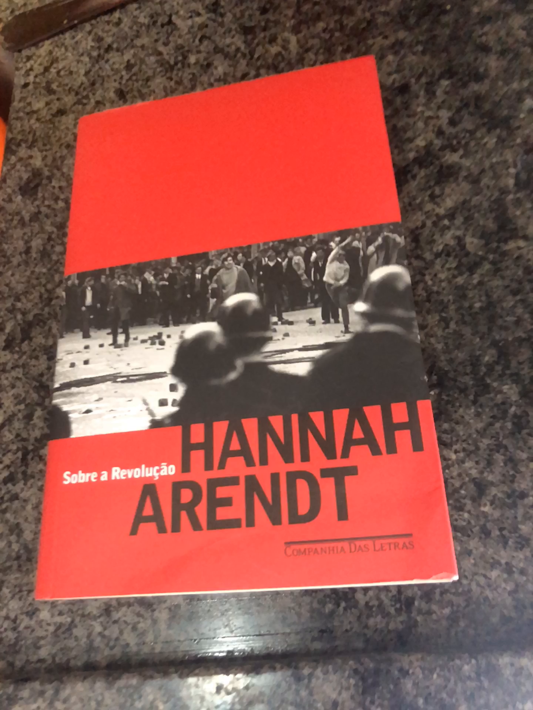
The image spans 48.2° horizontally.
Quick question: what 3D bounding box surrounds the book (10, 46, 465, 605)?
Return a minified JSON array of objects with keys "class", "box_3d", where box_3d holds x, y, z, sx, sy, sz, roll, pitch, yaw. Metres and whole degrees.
[{"class":"book","box_3d":[-0.016,-0.018,0.236,0.145,0.030,0.210,-7,67,11]}]
